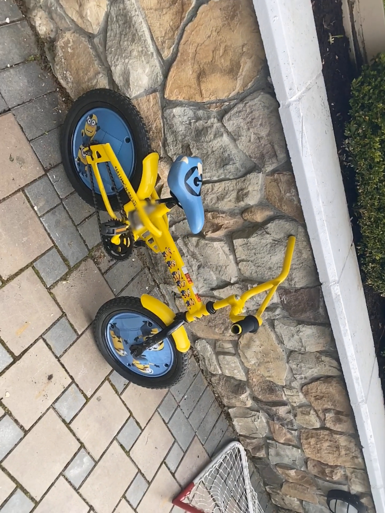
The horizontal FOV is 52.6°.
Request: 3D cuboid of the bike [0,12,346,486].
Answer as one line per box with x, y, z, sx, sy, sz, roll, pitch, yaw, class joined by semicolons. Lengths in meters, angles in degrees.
-0.028;-0.018;1.314;0.622;0.735;1.086;-26;108;-51;bike
